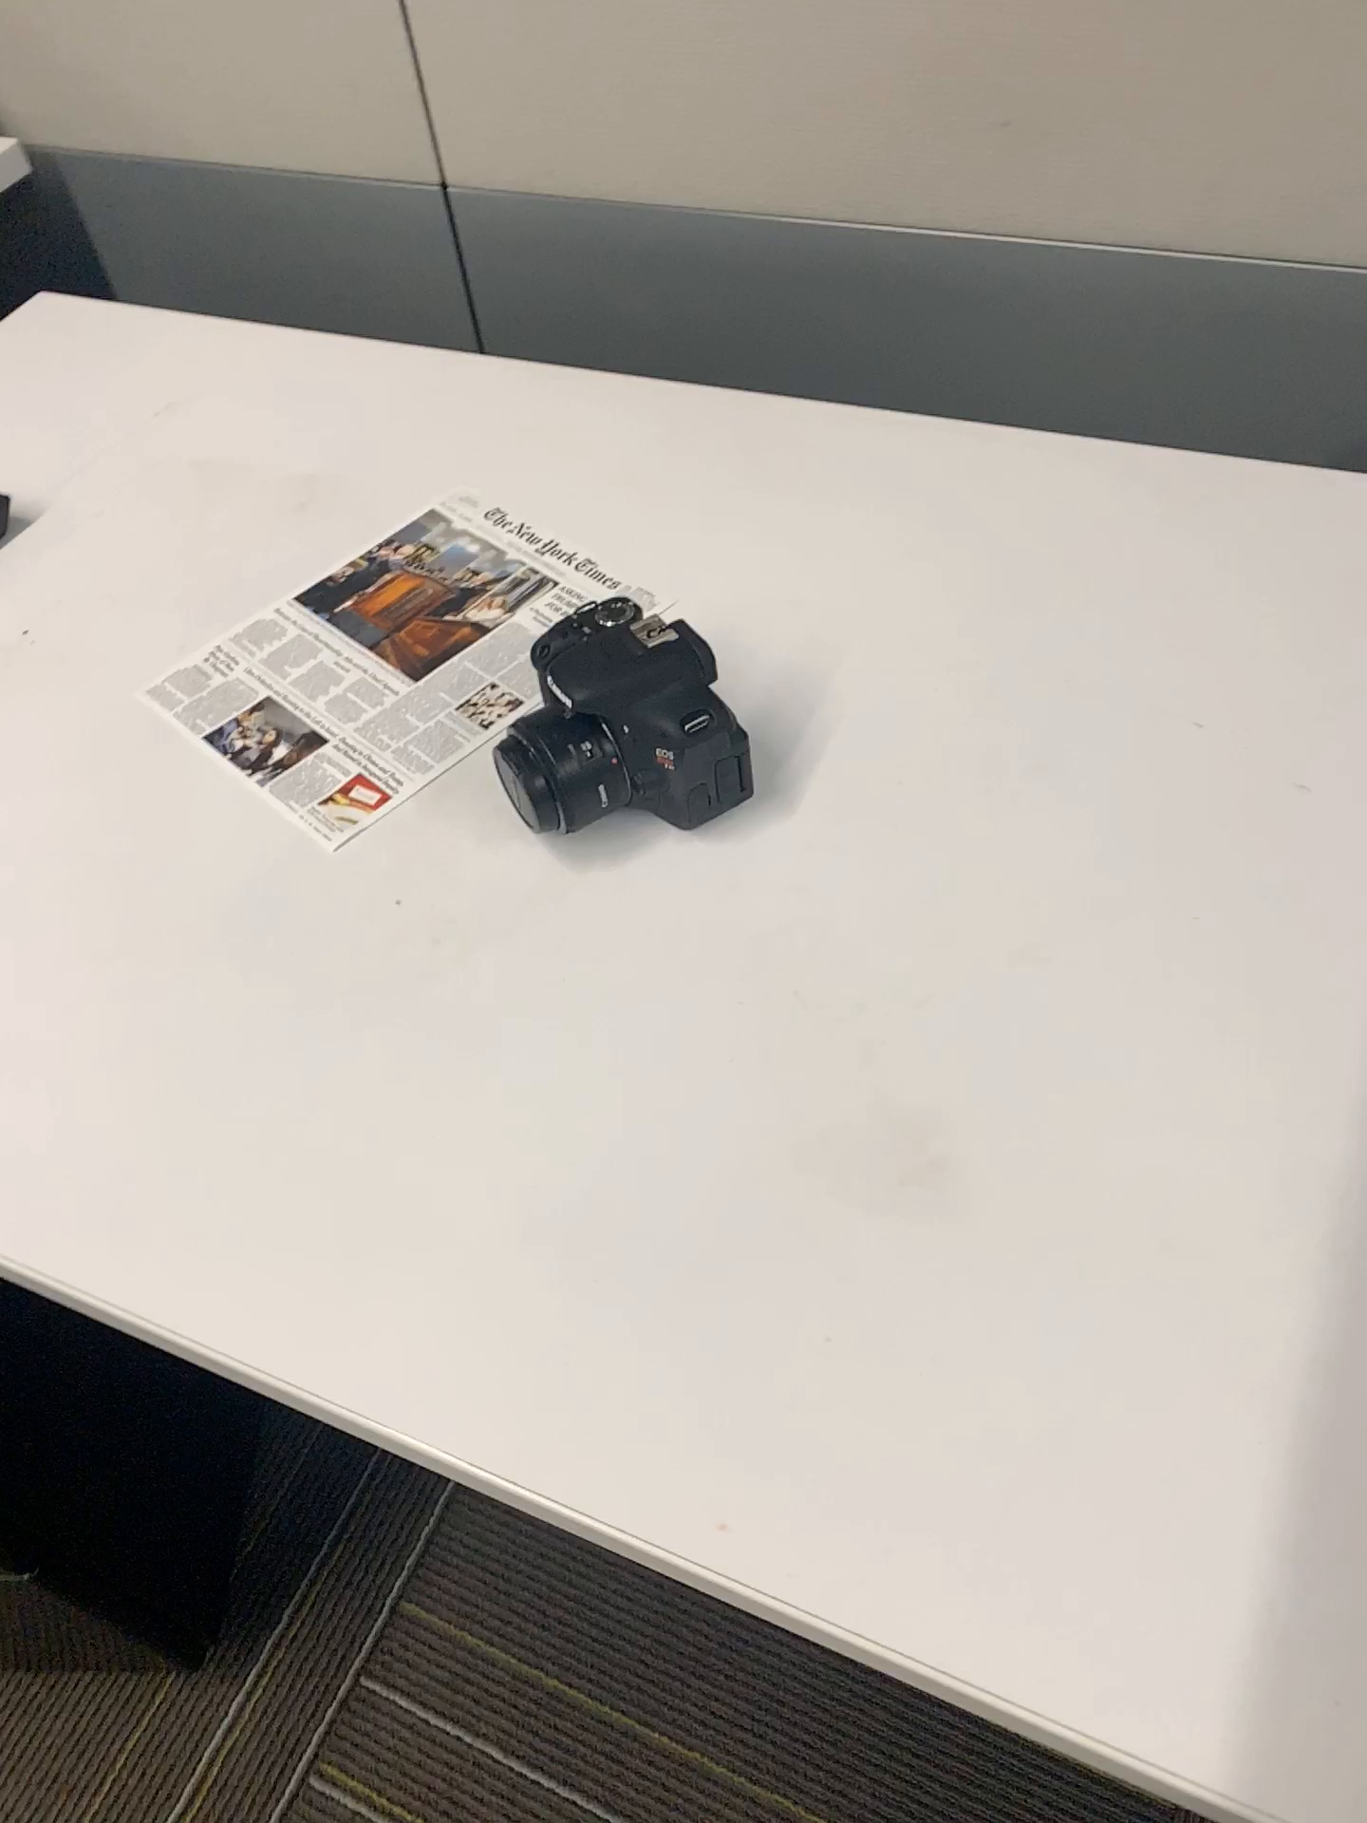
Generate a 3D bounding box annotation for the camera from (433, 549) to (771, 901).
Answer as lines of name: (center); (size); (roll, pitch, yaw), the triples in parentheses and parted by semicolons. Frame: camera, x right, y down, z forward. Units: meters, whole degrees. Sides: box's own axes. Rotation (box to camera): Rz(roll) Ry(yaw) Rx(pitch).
camera: (-0.043, -0.104, 0.757); (0.119, 0.090, 0.137); (-30, 53, -16)
